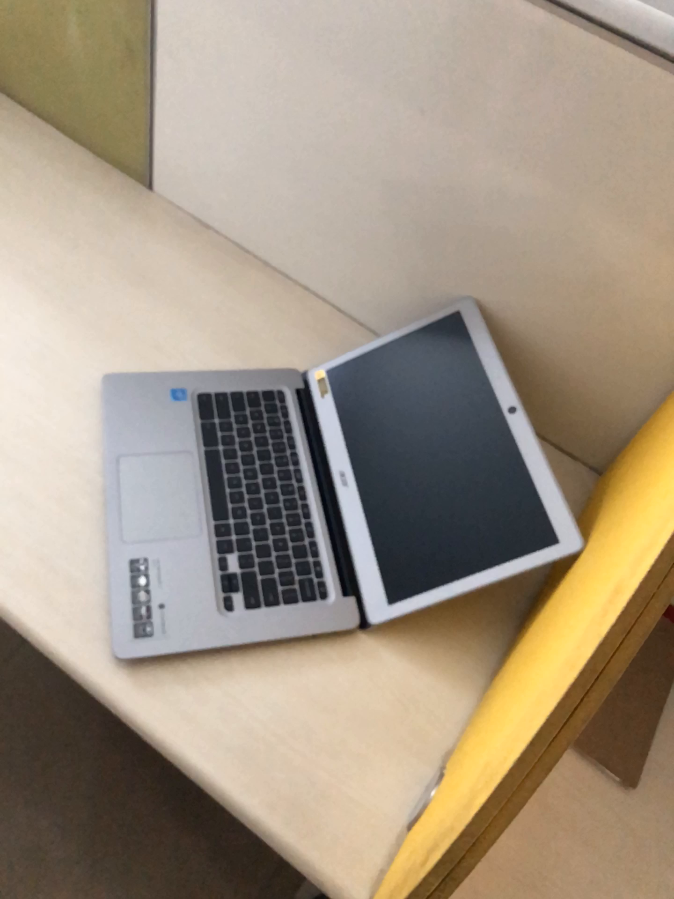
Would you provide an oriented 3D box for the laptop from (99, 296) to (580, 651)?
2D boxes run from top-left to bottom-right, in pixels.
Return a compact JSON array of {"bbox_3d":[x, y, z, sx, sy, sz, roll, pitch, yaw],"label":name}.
[{"bbox_3d":[-0.022,0.002,0.763,0.409,0.123,0.321,-4,55,-15],"label":"laptop"}]
